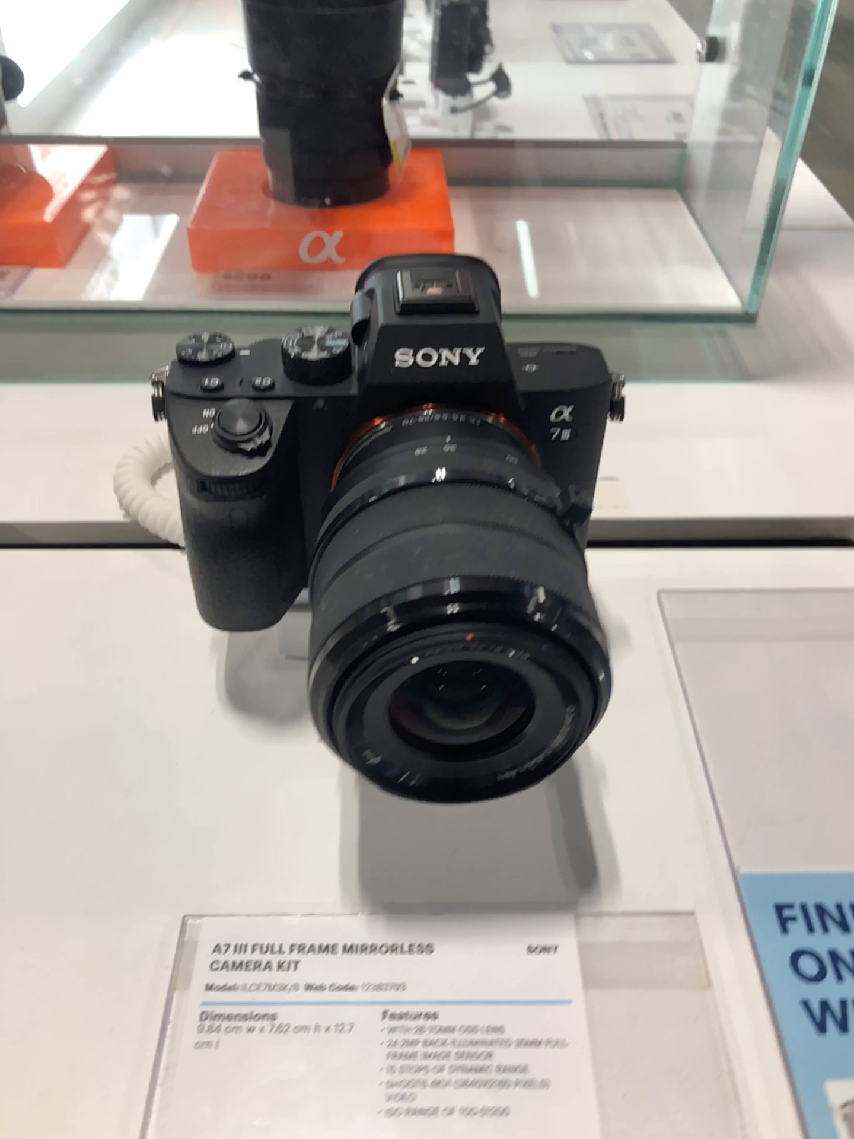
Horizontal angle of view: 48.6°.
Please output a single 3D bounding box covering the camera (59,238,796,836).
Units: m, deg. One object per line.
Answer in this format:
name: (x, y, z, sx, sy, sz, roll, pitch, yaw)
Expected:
camera: (-0.003, -0.021, 0.266, 0.140, 0.079, 0.161, -2, 42, -2)
